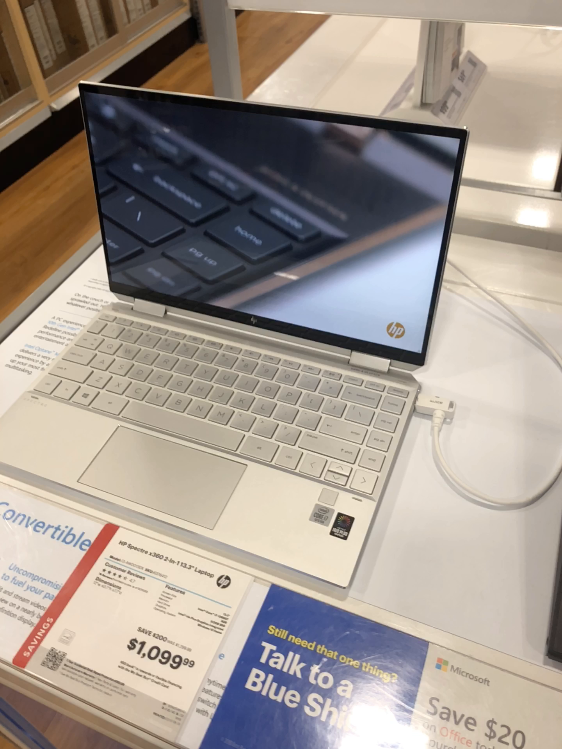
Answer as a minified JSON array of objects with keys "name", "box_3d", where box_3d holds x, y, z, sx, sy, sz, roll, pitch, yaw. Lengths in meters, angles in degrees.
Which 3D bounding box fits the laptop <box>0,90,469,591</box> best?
[{"name":"laptop","box_3d":[-0.058,-0.046,0.432,0.303,0.184,0.228,15,49,19]}]
